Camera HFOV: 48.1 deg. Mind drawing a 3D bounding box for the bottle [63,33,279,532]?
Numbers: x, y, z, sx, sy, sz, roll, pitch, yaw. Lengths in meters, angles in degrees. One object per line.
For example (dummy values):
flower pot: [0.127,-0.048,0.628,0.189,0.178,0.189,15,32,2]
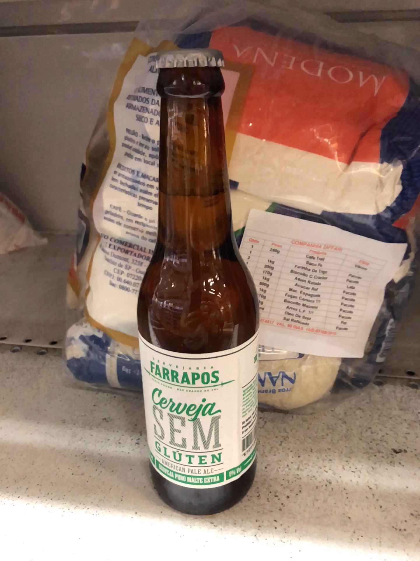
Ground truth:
bottle: [-0.009,0.010,0.230,0.070,0.228,0.060,4,25,11]
